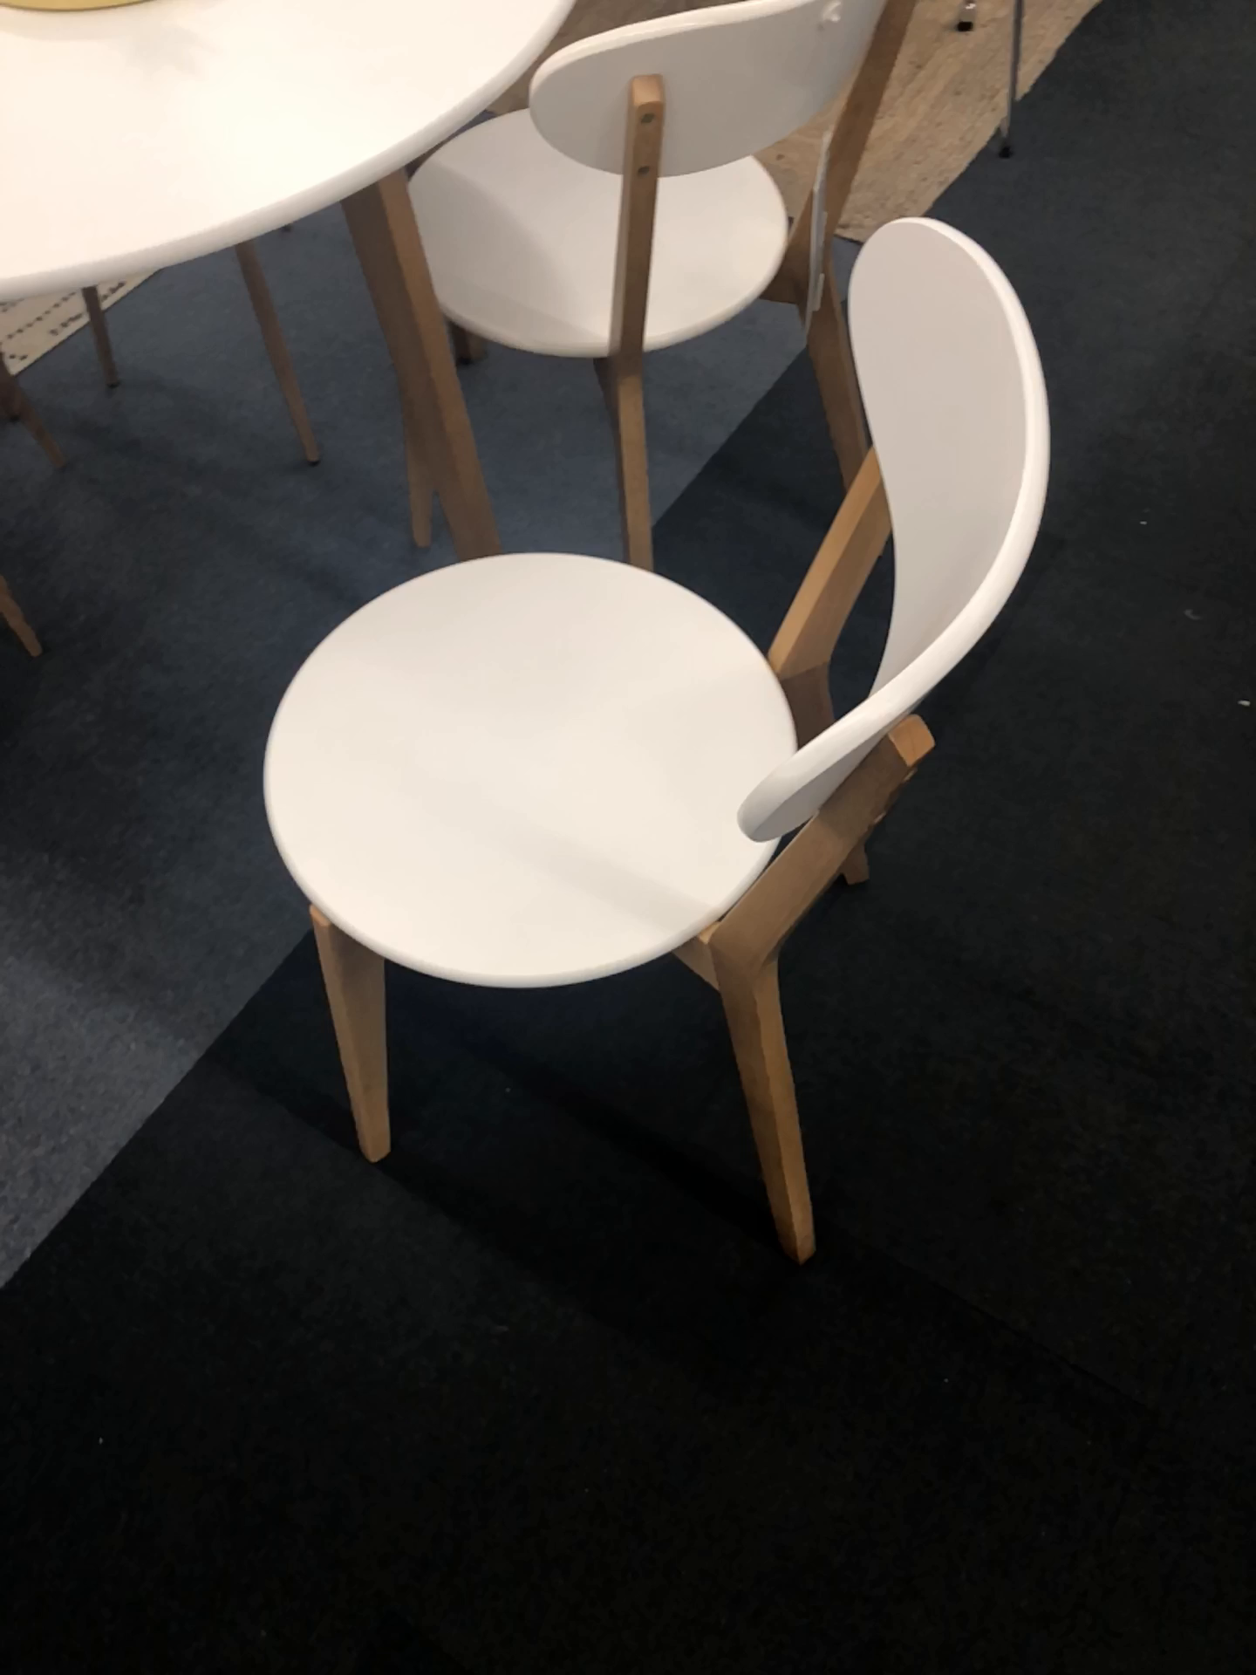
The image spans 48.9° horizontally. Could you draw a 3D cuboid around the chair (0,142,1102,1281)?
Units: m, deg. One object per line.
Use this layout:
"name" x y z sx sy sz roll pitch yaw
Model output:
"chair" -0.027 -0.059 1.005 0.560 0.598 0.481 10 58 9
